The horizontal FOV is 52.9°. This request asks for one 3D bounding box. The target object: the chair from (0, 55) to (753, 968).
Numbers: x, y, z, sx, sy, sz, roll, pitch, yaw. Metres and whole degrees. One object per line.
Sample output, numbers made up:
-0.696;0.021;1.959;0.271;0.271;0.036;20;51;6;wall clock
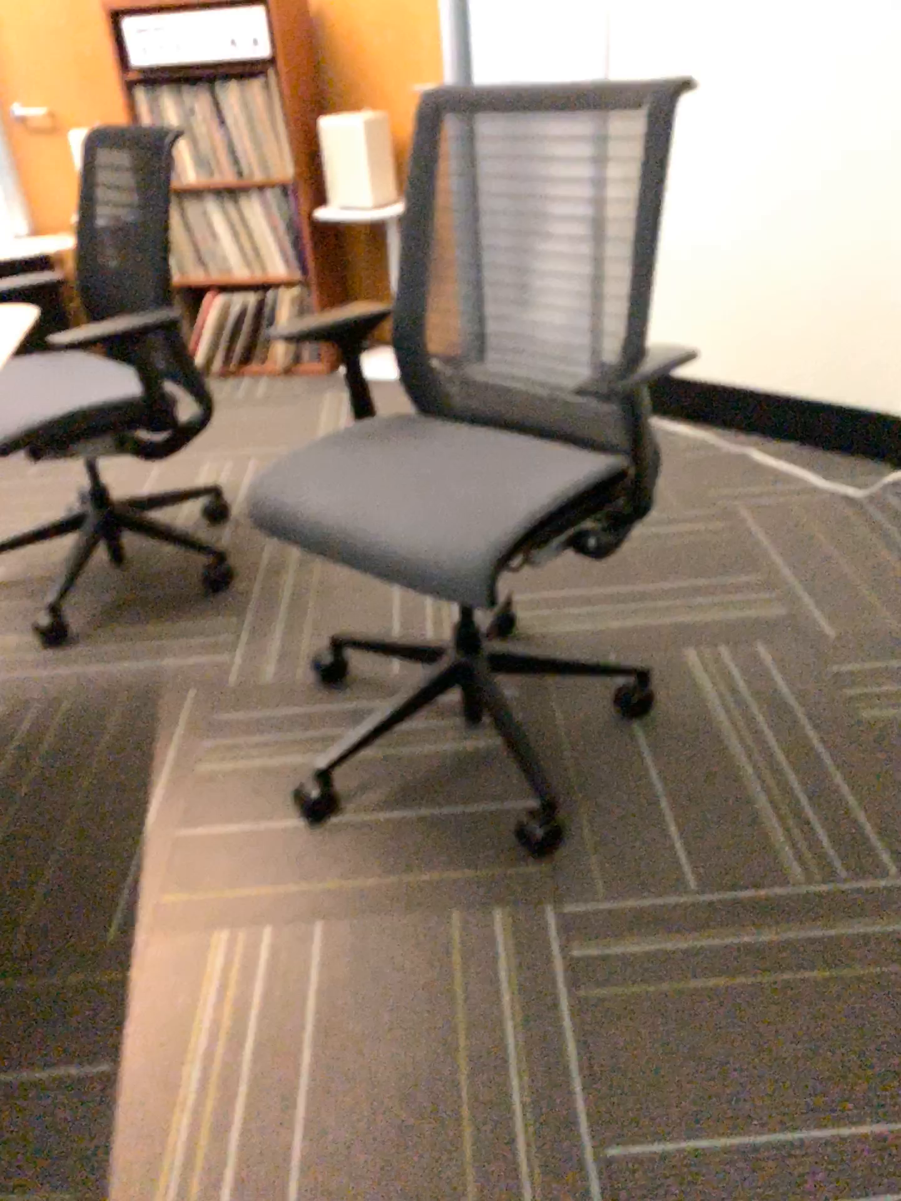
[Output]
-0.081;-0.220;1.519;0.793;1.113;0.802;17;38;31;chair
